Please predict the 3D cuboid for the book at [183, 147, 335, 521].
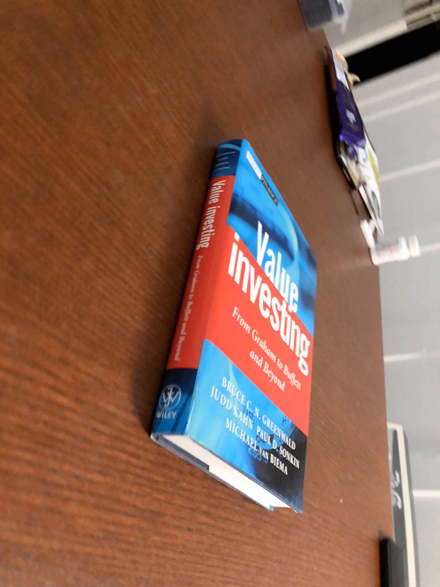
[{"bbox_3d":[0.049,0.029,0.374,0.170,0.020,0.231,50,40,-42],"label":"book"}]
